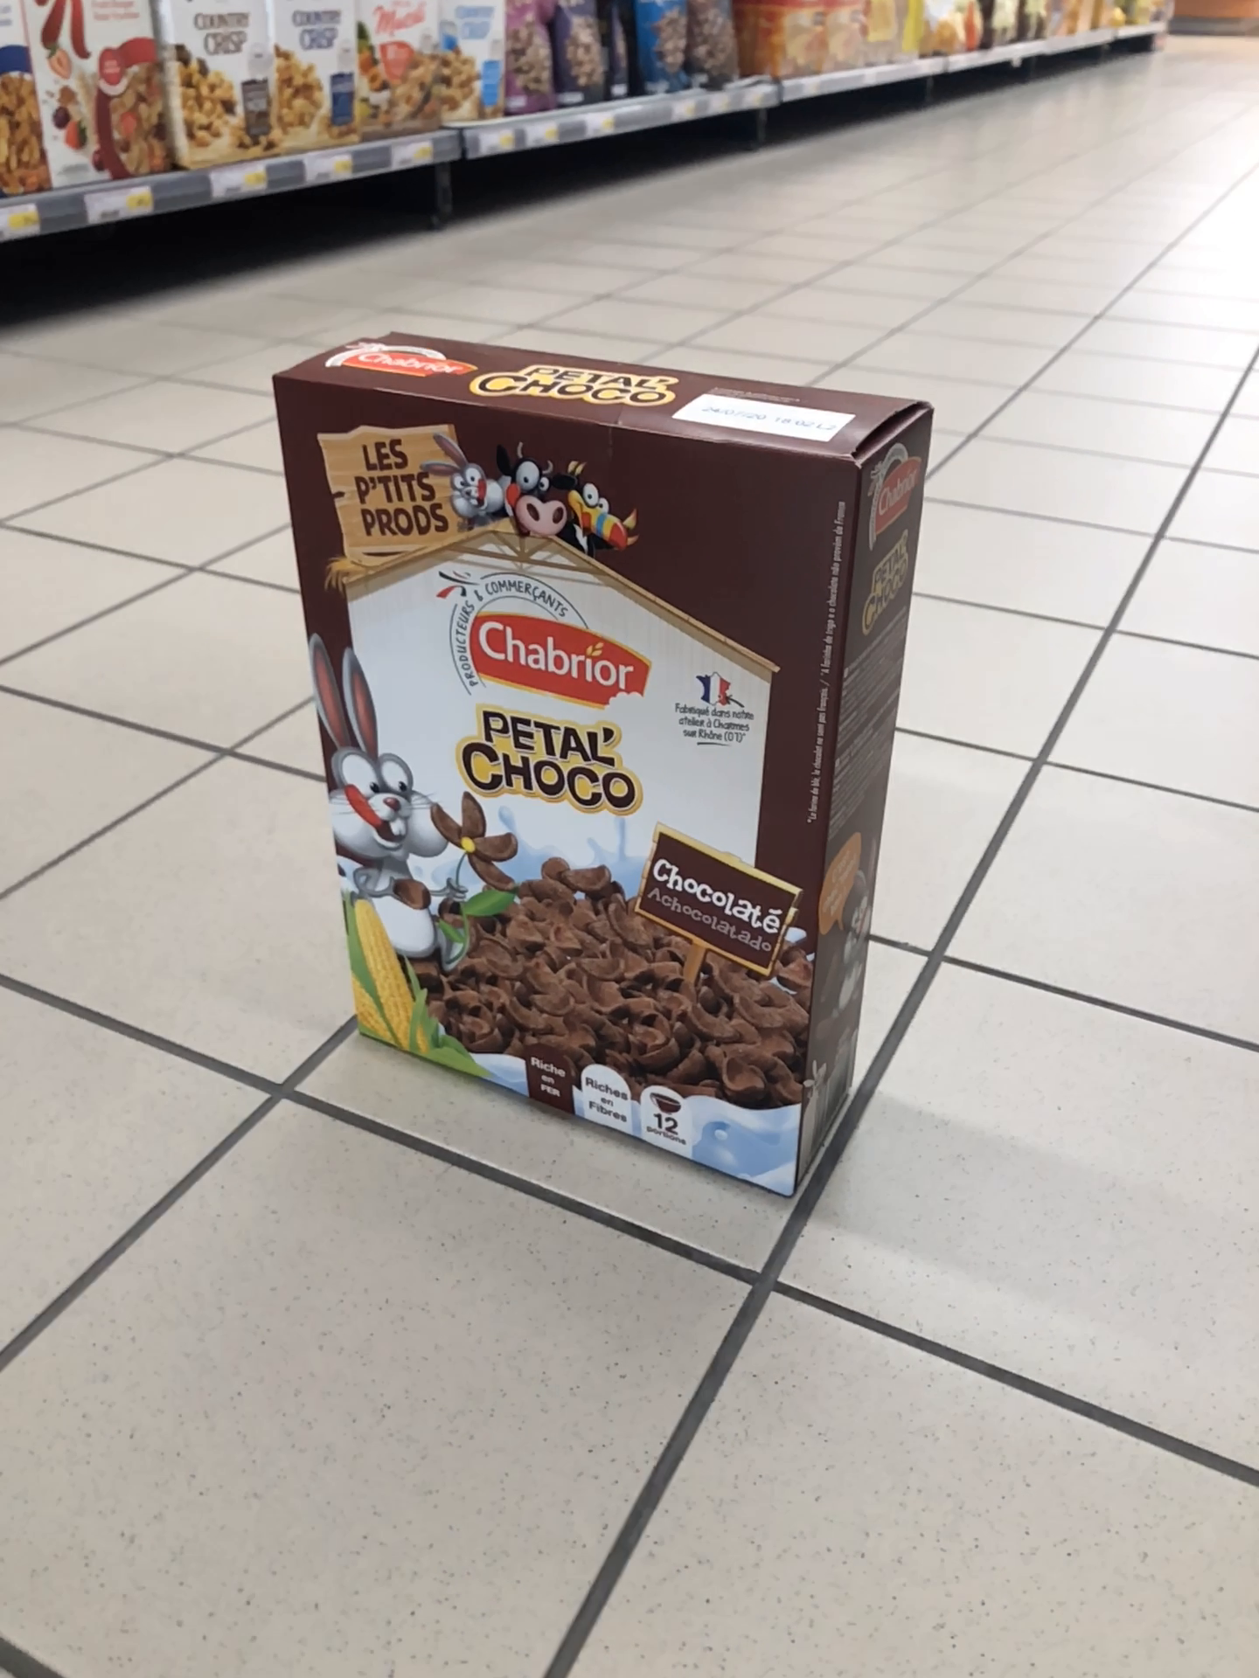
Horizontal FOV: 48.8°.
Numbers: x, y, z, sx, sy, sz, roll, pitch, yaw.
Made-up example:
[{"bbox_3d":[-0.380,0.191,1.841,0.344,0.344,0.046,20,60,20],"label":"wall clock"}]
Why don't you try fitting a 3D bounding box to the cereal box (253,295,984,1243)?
[{"bbox_3d":[-0.008,-0.022,0.469,0.200,0.278,0.070,15,34,23],"label":"cereal box"}]
